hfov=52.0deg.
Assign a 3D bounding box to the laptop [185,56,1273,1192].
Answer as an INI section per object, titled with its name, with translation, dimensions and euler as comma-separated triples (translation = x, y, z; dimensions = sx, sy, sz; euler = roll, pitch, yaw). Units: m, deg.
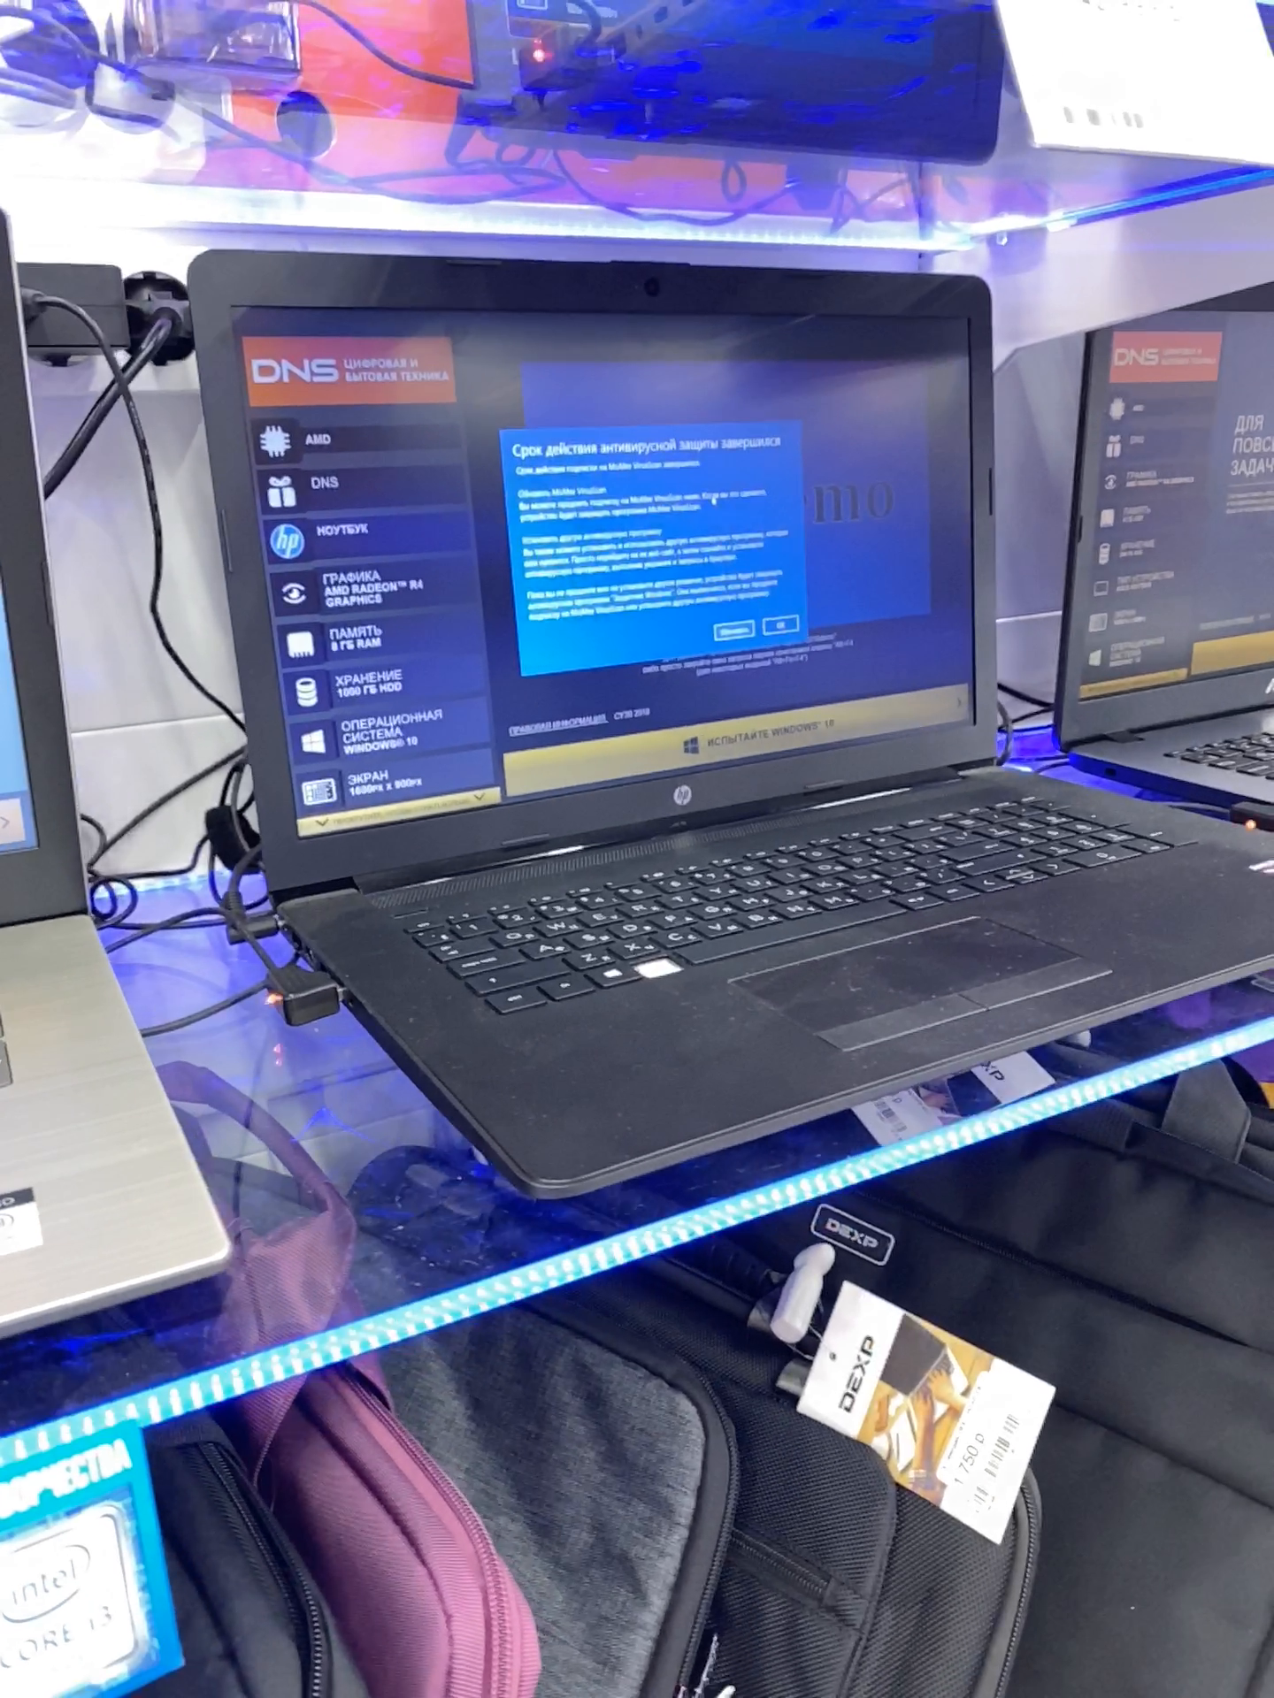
[laptop]
translation = 0.082, -0.106, 0.524
dimensions = 0.419, 0.260, 0.295
euler = -11, 19, -28
